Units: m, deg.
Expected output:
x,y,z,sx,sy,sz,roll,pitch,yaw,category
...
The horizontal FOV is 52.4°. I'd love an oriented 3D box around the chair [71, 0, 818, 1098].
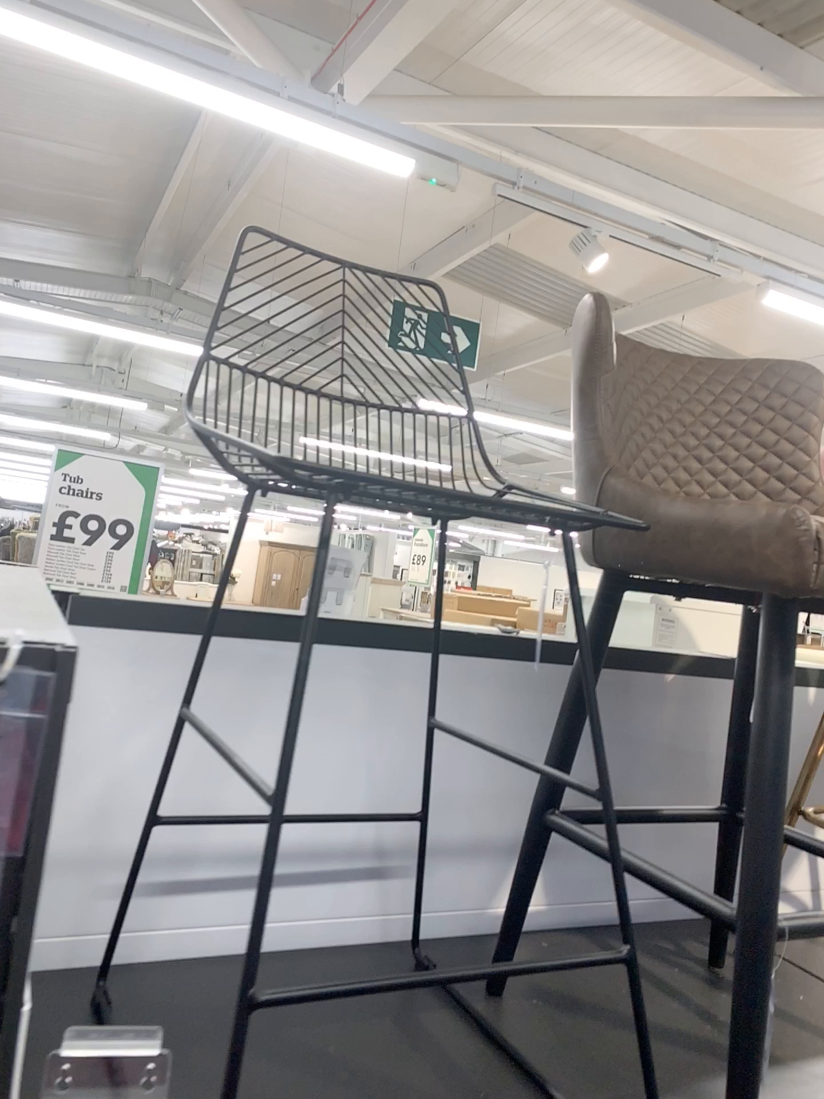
x,y,z,sx,sy,sz,roll,pitch,yaw,category
-0.007,0.074,0.915,0.504,0.965,0.529,9,-3,-27,chair
